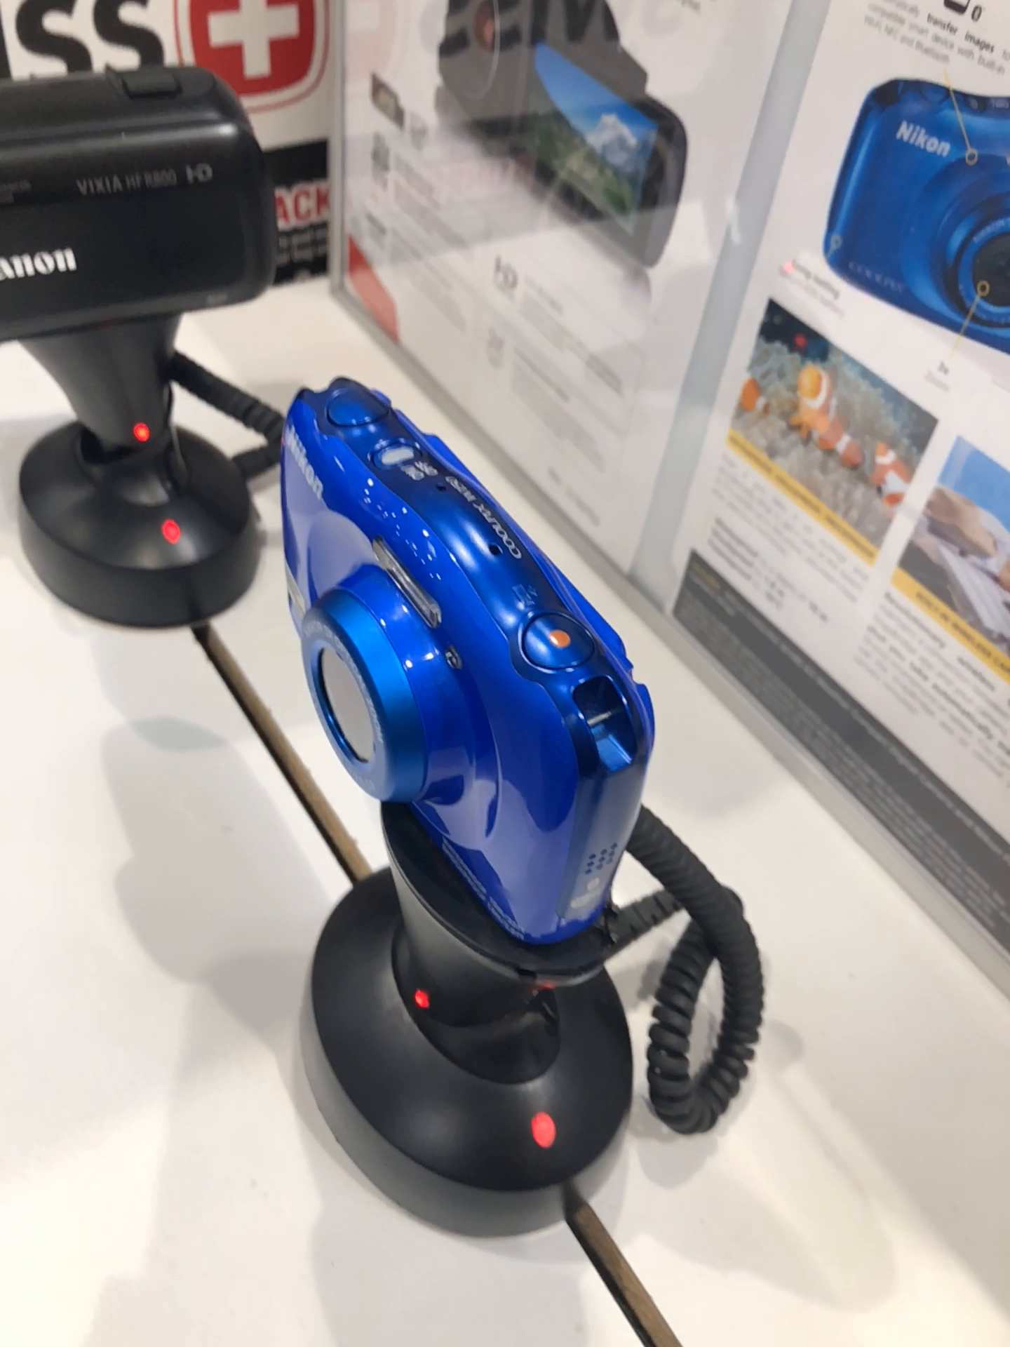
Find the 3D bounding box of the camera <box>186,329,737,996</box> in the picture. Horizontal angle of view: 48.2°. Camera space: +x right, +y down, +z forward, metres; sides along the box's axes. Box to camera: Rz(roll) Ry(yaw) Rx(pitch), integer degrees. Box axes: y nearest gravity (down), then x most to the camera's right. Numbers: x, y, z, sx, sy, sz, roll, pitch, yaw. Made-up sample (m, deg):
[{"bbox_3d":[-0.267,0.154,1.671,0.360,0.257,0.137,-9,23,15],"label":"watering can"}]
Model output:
[{"bbox_3d":[-0.014,-0.006,0.202,0.040,0.060,0.100,-24,55,-27],"label":"camera"}]
